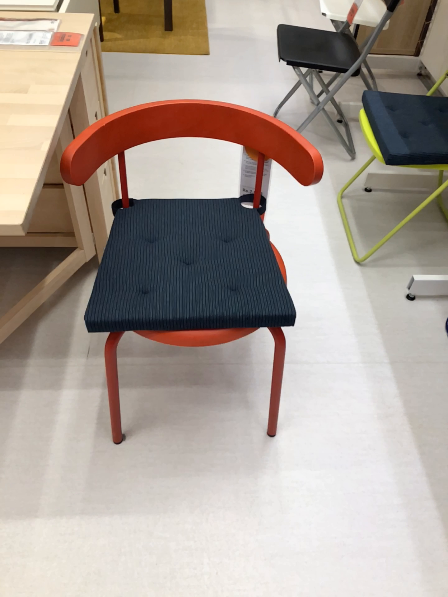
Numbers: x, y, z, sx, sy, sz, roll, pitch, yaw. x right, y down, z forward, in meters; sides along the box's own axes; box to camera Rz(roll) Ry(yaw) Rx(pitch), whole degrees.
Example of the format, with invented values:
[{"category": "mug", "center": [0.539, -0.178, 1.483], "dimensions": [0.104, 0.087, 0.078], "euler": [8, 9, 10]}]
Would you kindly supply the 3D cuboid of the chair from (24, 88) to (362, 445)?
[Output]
[{"category": "chair", "center": [-0.075, -0.051, 1.176], "dimensions": [0.520, 0.675, 0.503], "euler": [-1, 48, -5]}]
